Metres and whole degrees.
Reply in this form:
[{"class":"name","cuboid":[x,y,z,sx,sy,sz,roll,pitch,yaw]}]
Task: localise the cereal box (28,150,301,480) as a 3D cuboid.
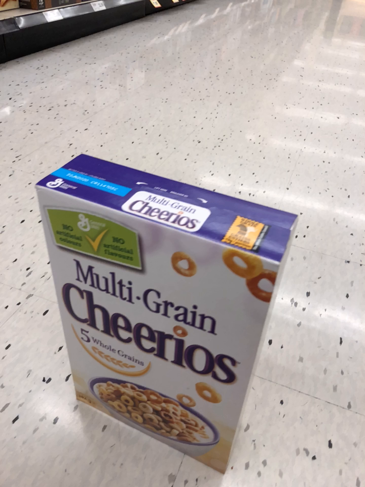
[{"class":"cereal box","cuboid":[-0.025,0.087,0.384,0.190,0.308,0.060,18,40,17]}]
